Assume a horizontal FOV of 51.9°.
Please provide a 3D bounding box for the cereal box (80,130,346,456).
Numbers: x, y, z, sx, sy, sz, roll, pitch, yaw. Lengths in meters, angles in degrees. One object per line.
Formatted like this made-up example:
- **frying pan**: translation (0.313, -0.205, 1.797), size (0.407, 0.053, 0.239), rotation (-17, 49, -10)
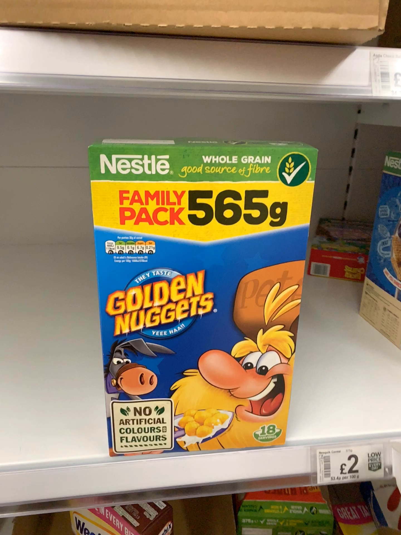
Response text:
- **cereal box**: translation (0.004, 0.028, 0.417), size (0.210, 0.308, 0.091), rotation (-1, 20, -7)
